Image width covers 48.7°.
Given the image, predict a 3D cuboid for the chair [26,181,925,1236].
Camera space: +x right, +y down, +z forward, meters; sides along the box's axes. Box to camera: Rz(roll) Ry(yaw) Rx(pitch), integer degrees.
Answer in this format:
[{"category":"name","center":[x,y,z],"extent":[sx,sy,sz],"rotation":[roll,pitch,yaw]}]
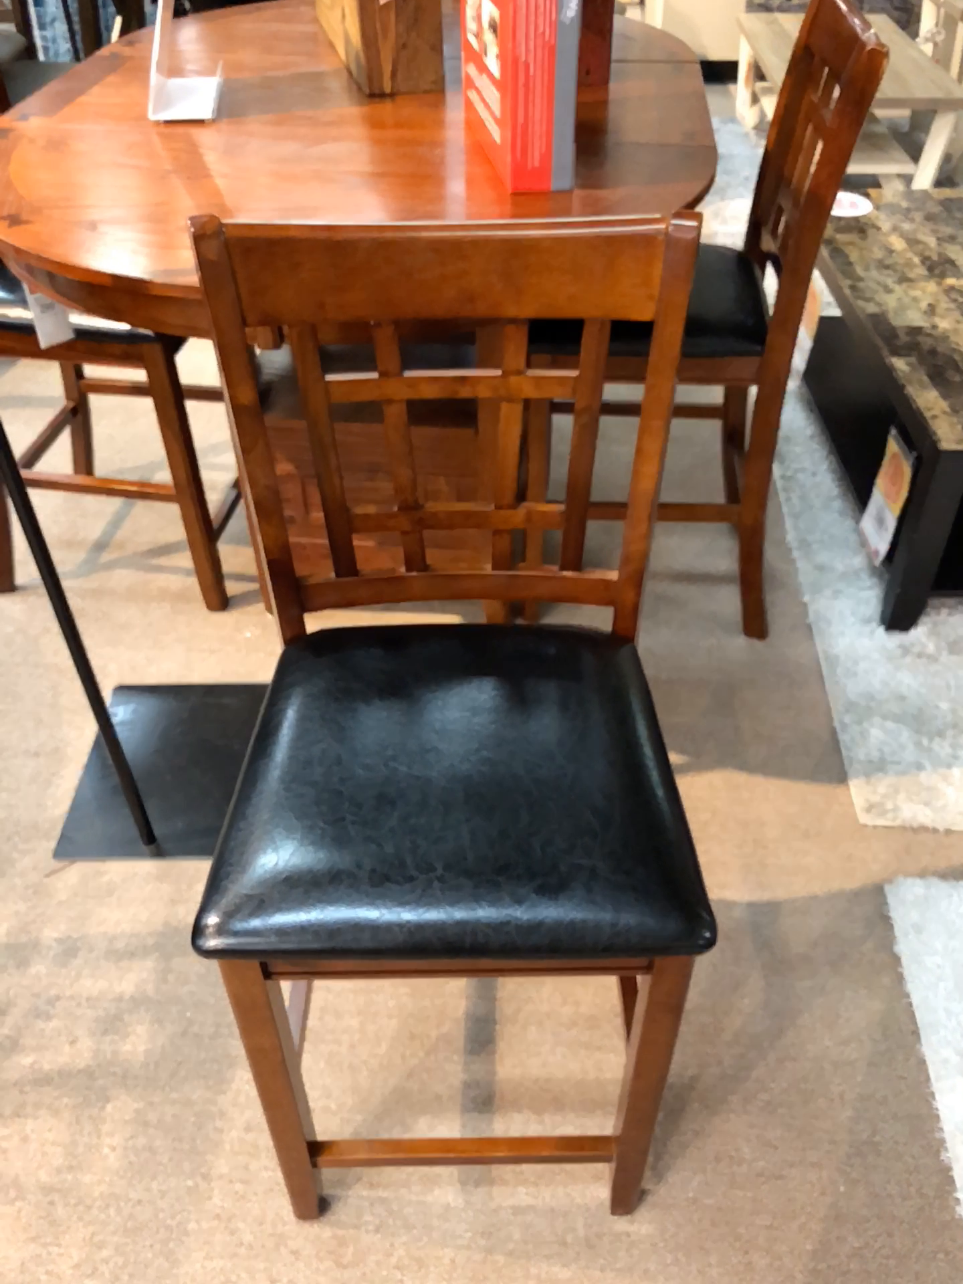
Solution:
[{"category":"chair","center":[-0.003,0.126,1.070],"extent":[0.470,0.963,0.524],"rotation":[-1,41,0]}]
